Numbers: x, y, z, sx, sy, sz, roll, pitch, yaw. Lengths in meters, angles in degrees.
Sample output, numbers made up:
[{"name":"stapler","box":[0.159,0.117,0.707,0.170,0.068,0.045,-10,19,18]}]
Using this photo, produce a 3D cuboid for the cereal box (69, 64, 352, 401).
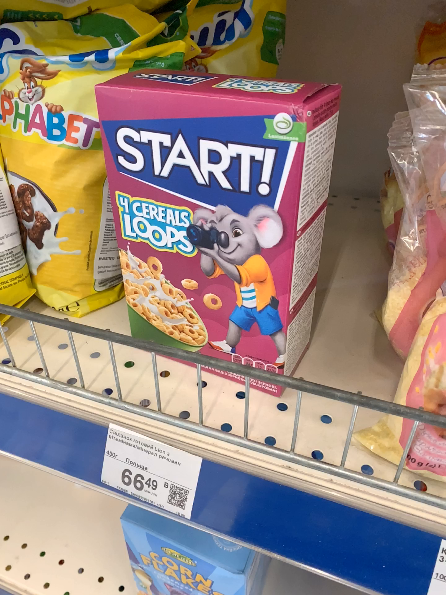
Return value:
[{"name":"cereal box","box":[-0.006,-0.034,0.257,0.120,0.159,0.050,15,38,22]}]
